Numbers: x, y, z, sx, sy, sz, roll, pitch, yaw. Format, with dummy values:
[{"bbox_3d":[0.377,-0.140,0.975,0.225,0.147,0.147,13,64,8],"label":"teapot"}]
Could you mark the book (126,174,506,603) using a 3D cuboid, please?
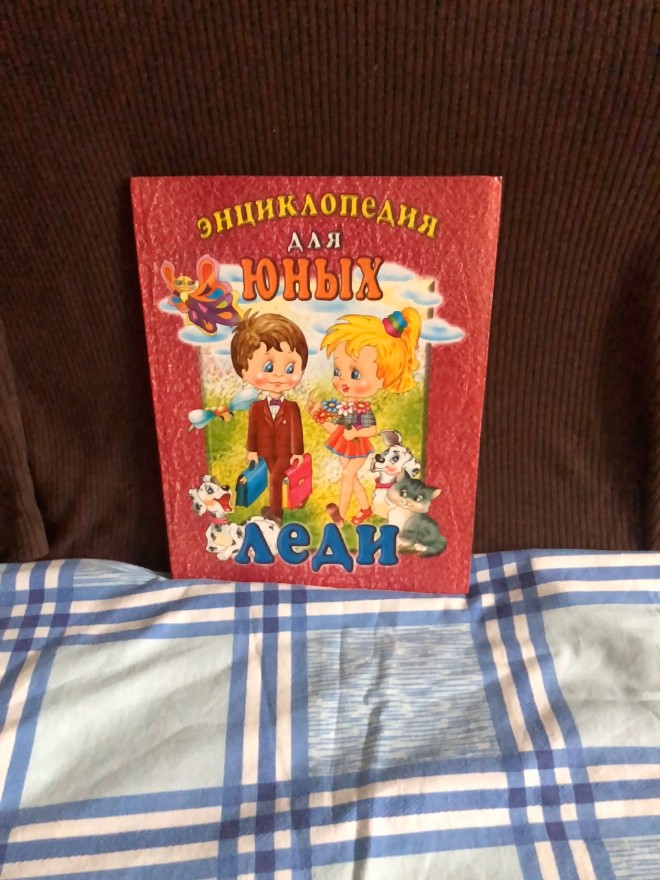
[{"bbox_3d":[-0.010,-0.023,0.505,0.230,0.303,0.020,1,21,1],"label":"book"}]
